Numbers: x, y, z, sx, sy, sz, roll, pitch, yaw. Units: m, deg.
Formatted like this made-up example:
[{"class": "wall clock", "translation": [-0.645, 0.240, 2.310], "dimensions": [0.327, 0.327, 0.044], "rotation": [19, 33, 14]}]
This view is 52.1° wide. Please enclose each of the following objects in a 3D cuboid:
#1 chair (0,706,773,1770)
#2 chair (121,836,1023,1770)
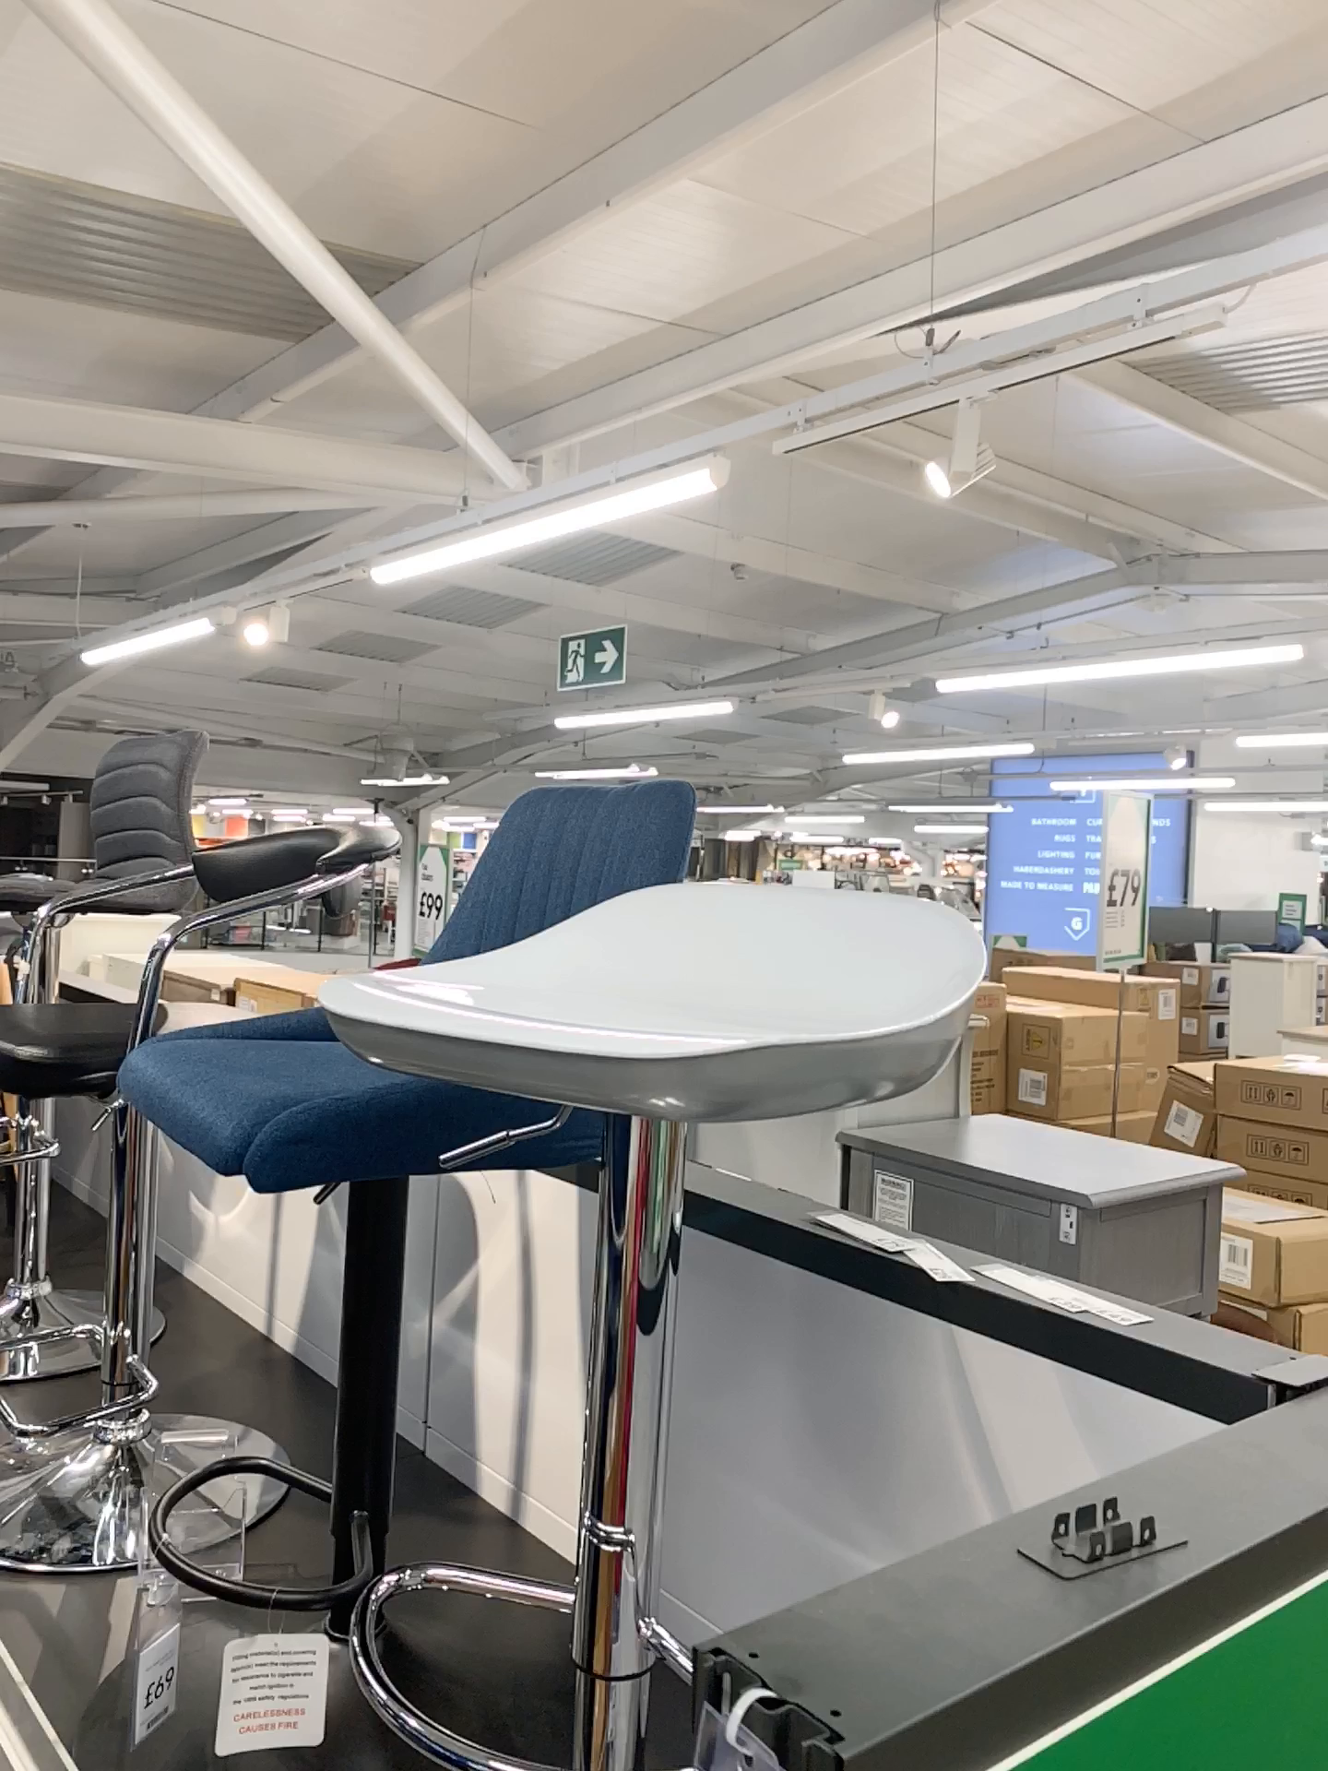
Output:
[{"class": "chair", "translation": [-0.280, 0.316, 1.268], "dimensions": [0.483, 0.883, 0.532], "rotation": [3, -1, -44]}, {"class": "chair", "translation": [-0.055, 0.382, 0.922], "dimensions": [0.402, 0.803, 0.403], "rotation": [2, -1, 42]}]
